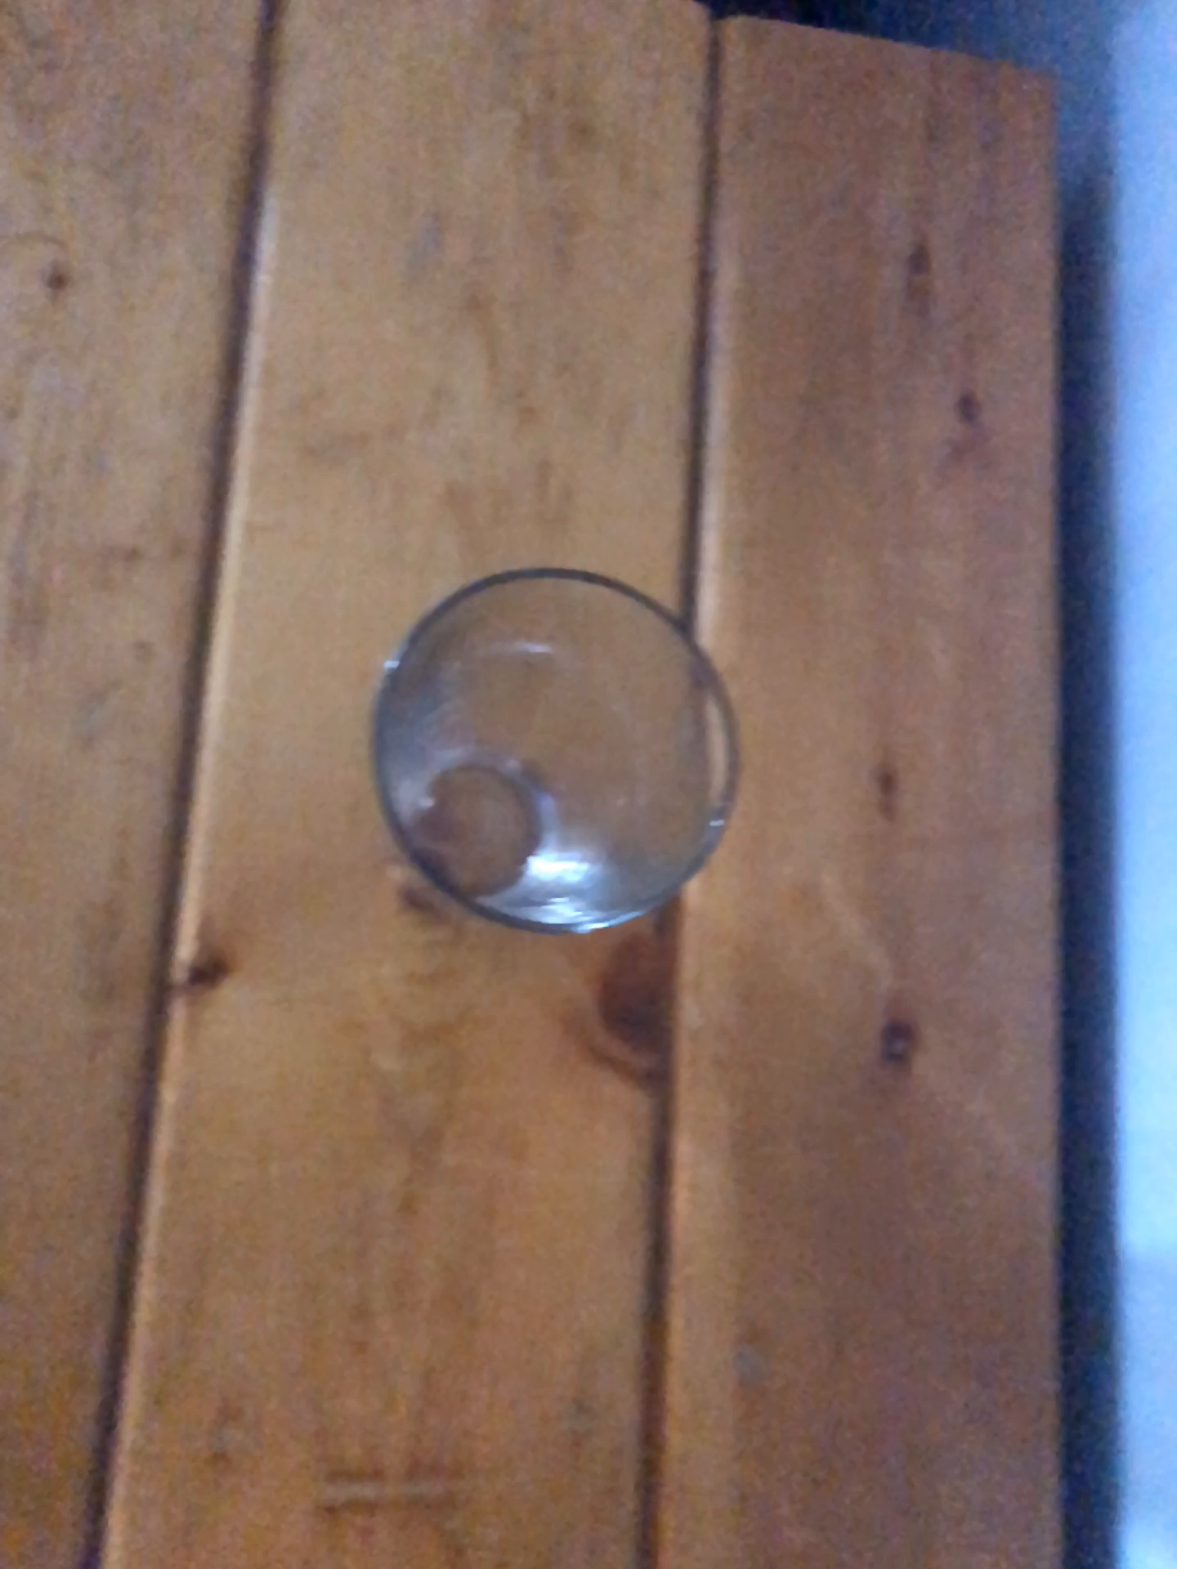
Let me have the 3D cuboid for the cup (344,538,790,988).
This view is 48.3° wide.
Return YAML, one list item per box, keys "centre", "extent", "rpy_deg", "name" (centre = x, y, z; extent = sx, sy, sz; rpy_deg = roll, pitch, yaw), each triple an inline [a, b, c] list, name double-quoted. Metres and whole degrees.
- centre: [-0.018, 0.004, 0.362]
  extent: [0.090, 0.150, 0.090]
  rpy_deg: [2, 79, -10]
  name: "cup"
